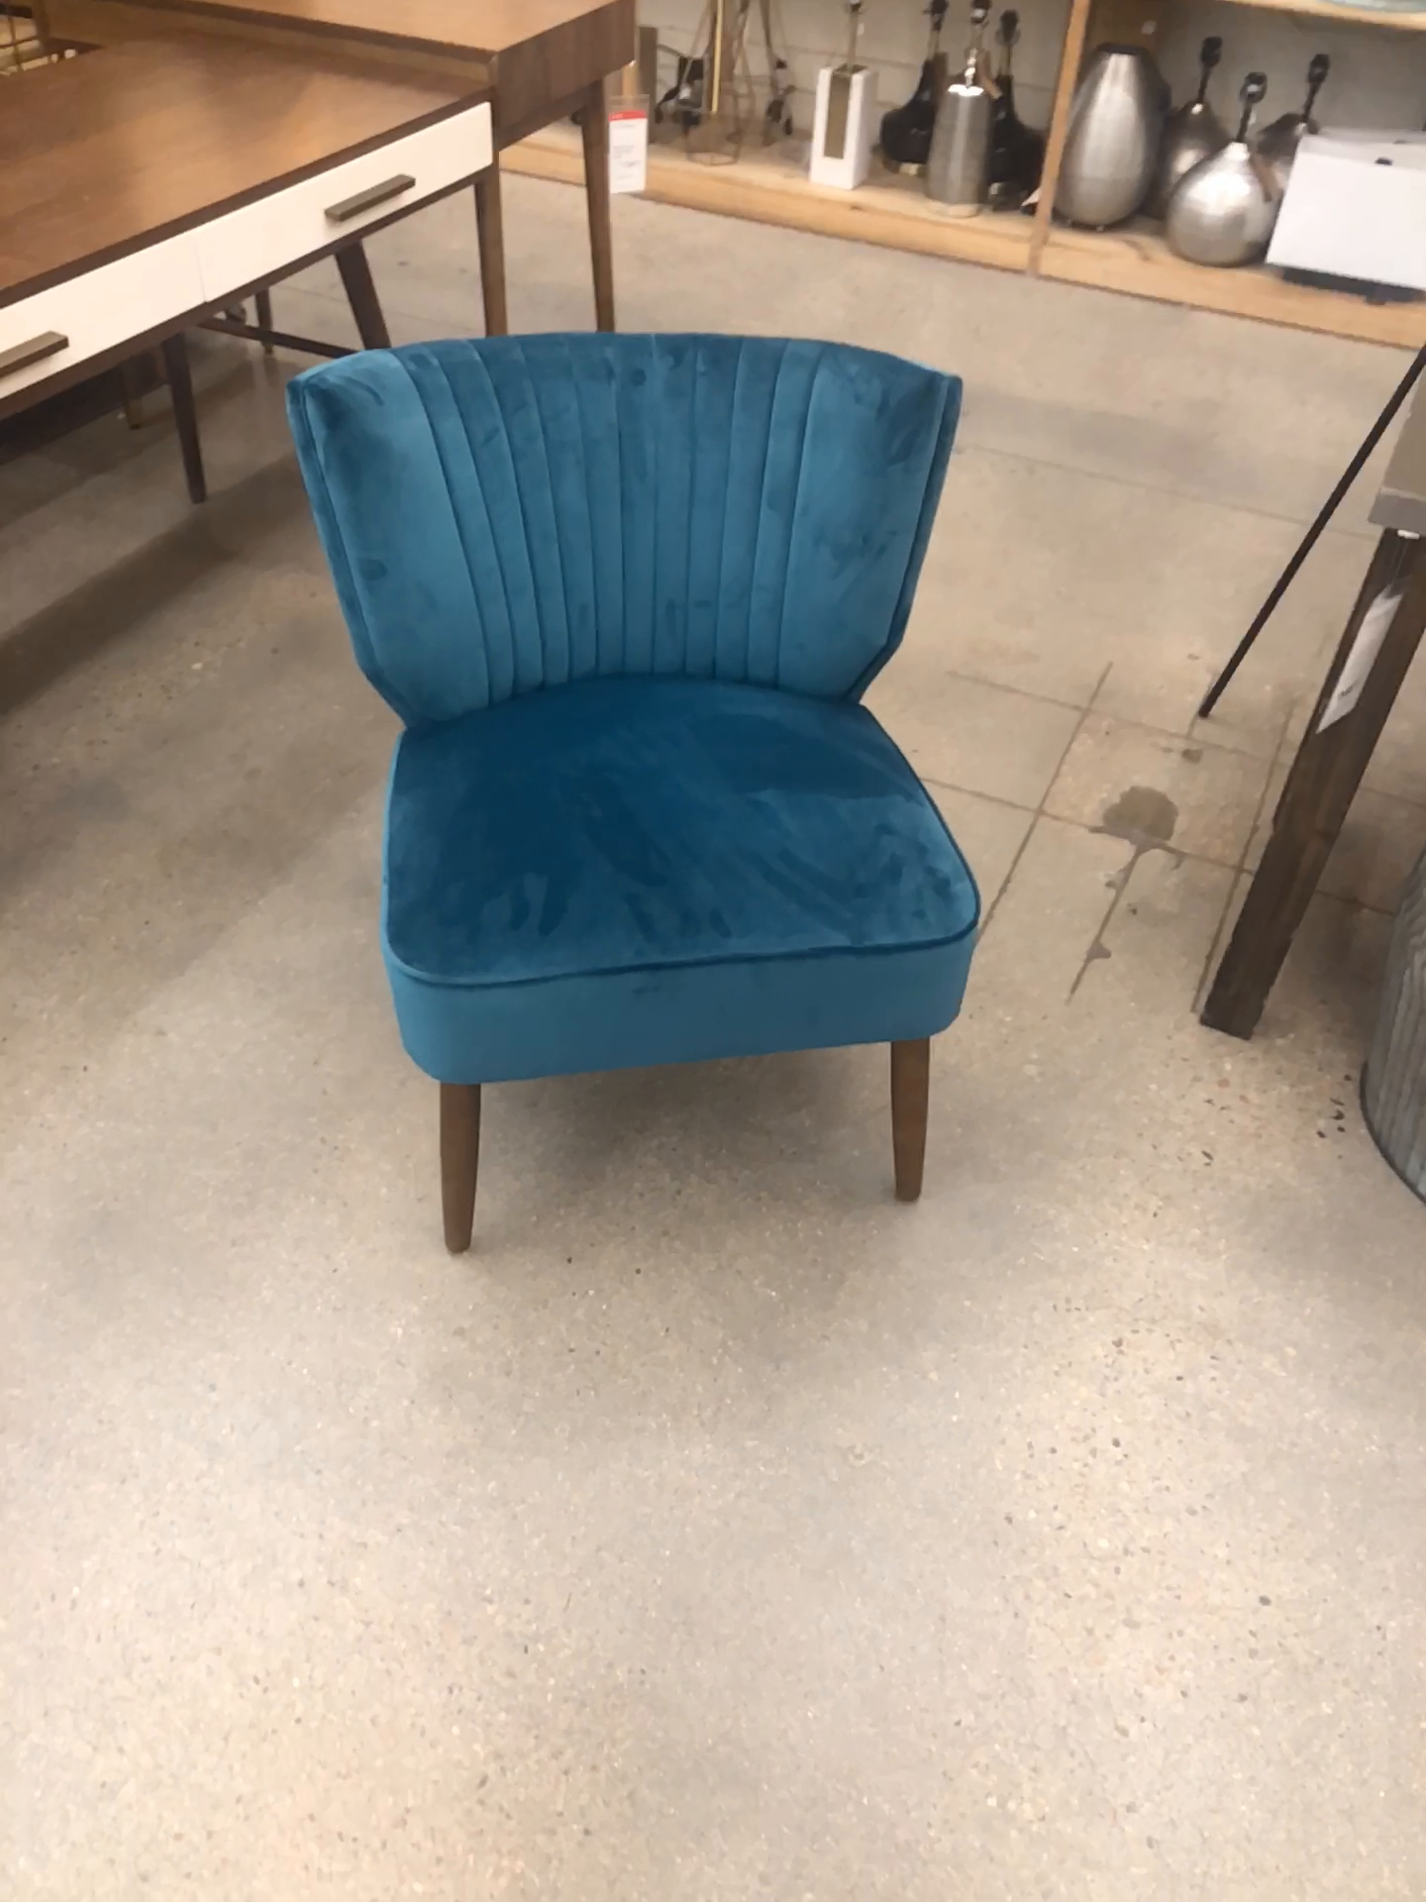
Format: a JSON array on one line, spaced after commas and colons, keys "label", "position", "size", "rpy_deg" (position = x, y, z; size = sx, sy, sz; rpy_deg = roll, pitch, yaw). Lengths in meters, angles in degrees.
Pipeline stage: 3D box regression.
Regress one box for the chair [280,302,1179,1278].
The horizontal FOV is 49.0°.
[{"label": "chair", "position": [-0.052, -0.187, 1.587], "size": [0.660, 0.676, 0.663], "rpy_deg": [-6, 42, -10]}]
